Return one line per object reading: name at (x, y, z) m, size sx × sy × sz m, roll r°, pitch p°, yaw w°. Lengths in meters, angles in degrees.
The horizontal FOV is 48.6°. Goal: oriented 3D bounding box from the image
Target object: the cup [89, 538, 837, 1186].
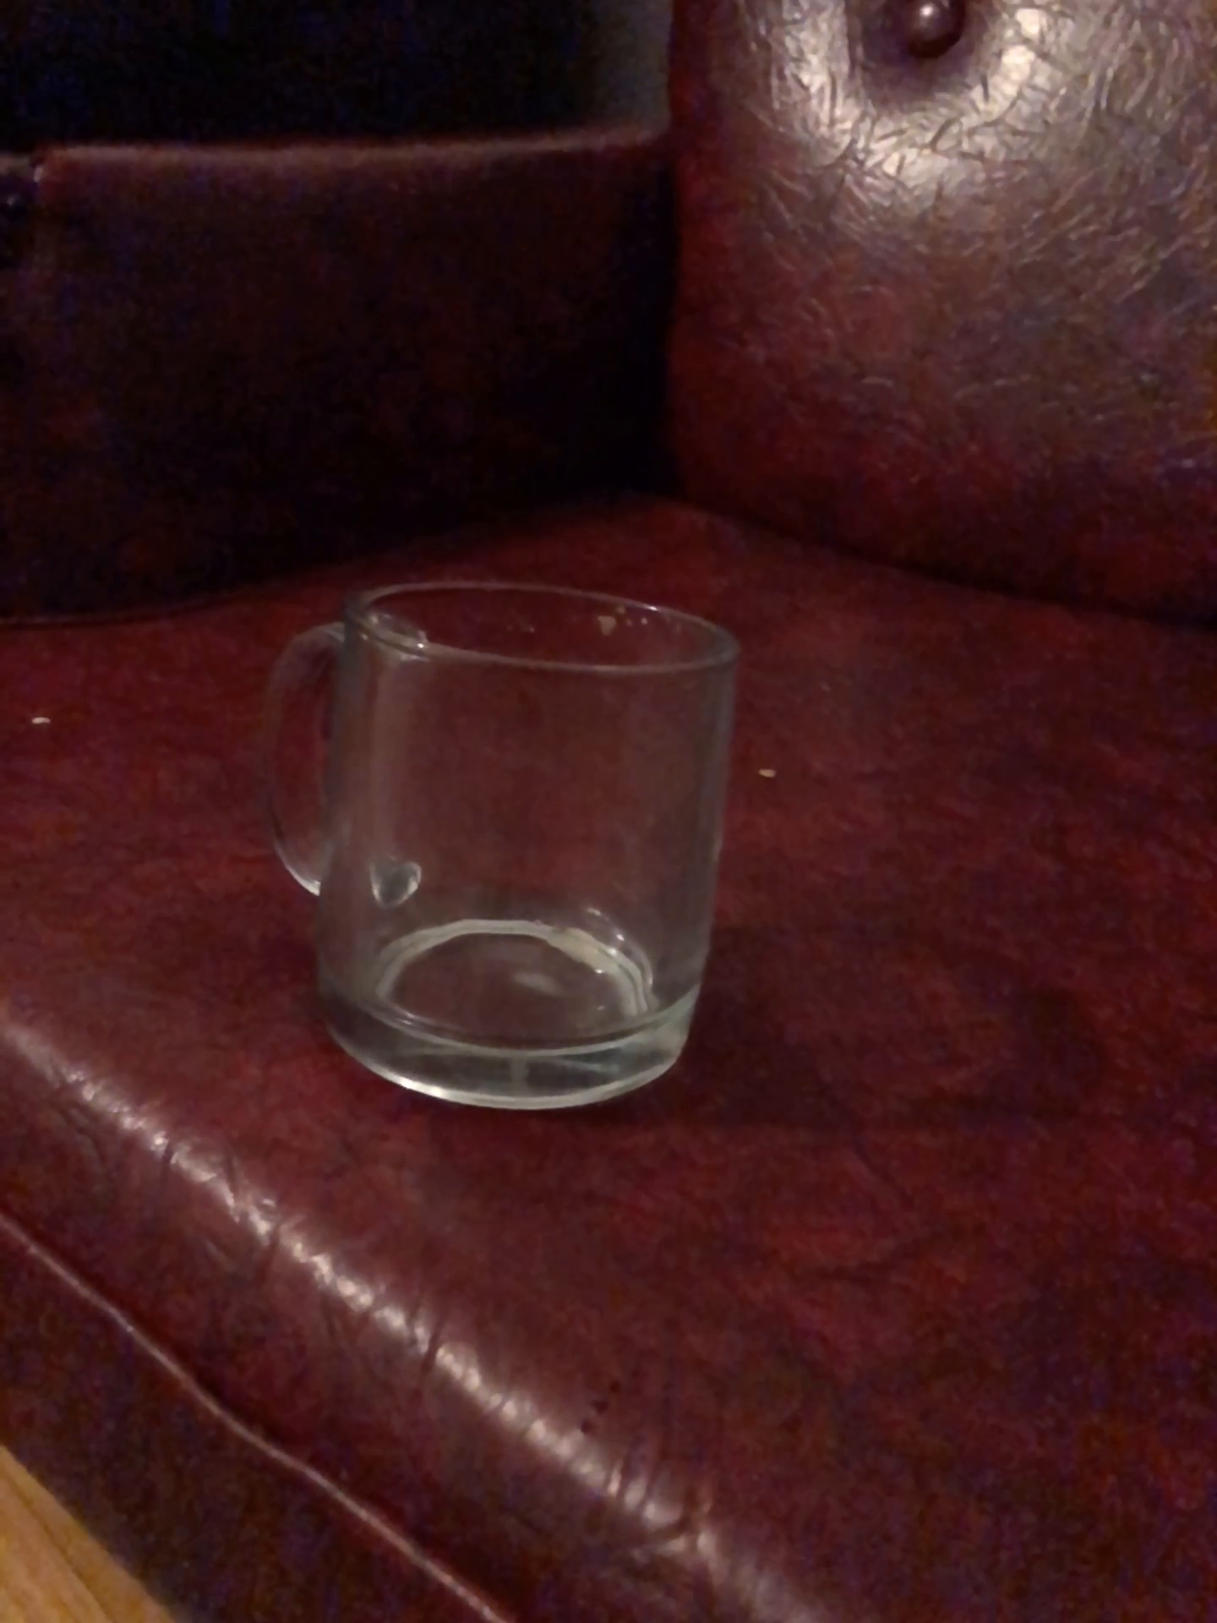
cup at (-0.034, -0.002, 0.296) m, size 0.128 × 0.090 × 0.090 m, roll 18°, pitch 21°, yaw 29°
